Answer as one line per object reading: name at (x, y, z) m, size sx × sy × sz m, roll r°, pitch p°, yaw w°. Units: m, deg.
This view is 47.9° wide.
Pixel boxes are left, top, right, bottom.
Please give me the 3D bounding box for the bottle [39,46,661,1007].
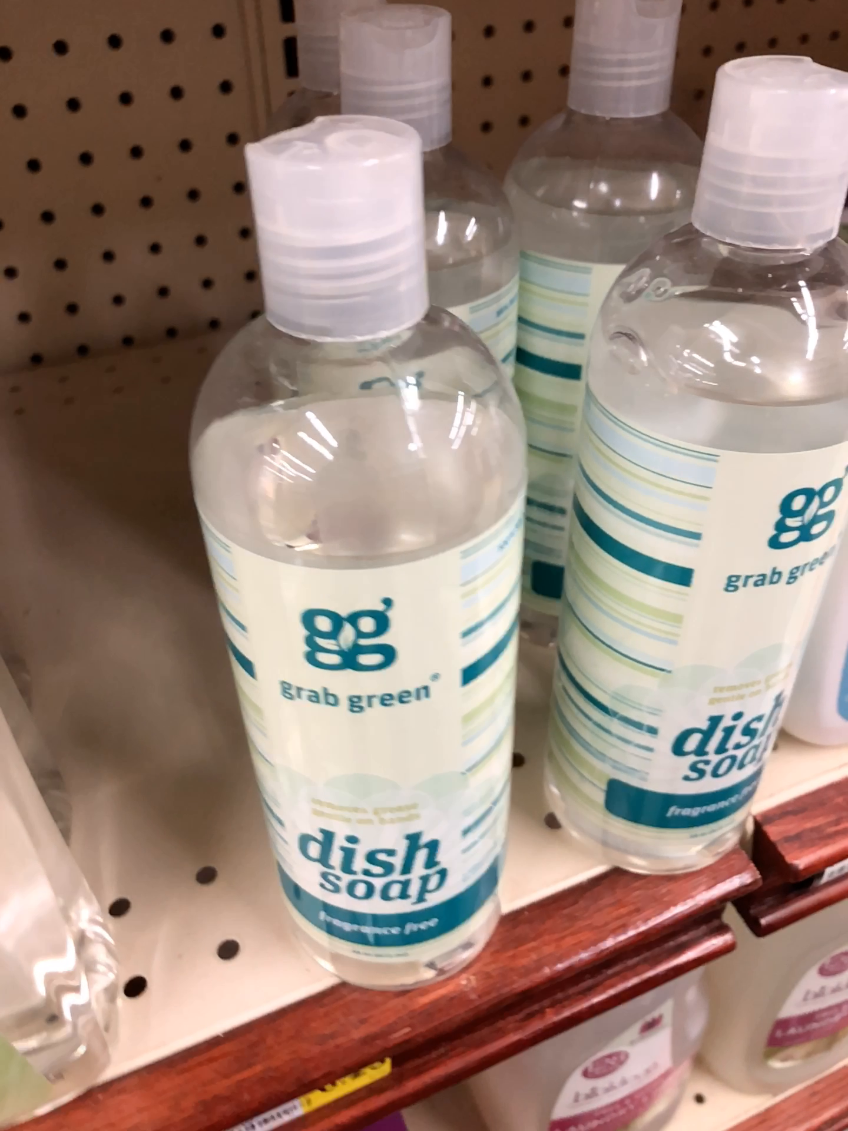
bottle at (-0.009, 0.013, 0.195) m, size 0.070 × 0.200 × 0.060 m, roll -2°, pitch 41°, yaw -2°
